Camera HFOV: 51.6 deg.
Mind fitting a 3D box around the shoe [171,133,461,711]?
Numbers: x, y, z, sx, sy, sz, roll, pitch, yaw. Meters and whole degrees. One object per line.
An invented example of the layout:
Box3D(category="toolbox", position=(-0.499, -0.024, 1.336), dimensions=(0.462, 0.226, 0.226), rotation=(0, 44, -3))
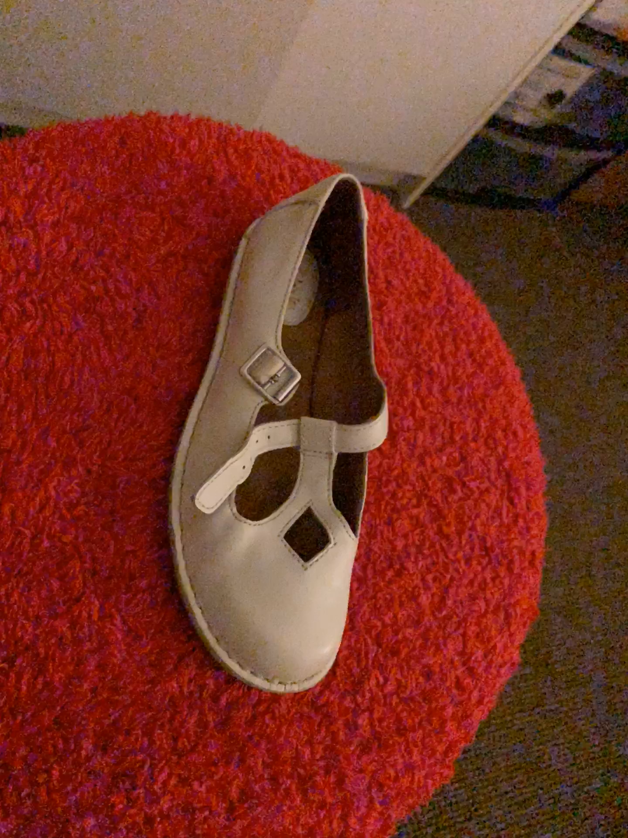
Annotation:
Box3D(category="shoe", position=(-0.008, 0.001, 0.332), dimensions=(0.100, 0.090, 0.261), rotation=(7, 67, -23))
